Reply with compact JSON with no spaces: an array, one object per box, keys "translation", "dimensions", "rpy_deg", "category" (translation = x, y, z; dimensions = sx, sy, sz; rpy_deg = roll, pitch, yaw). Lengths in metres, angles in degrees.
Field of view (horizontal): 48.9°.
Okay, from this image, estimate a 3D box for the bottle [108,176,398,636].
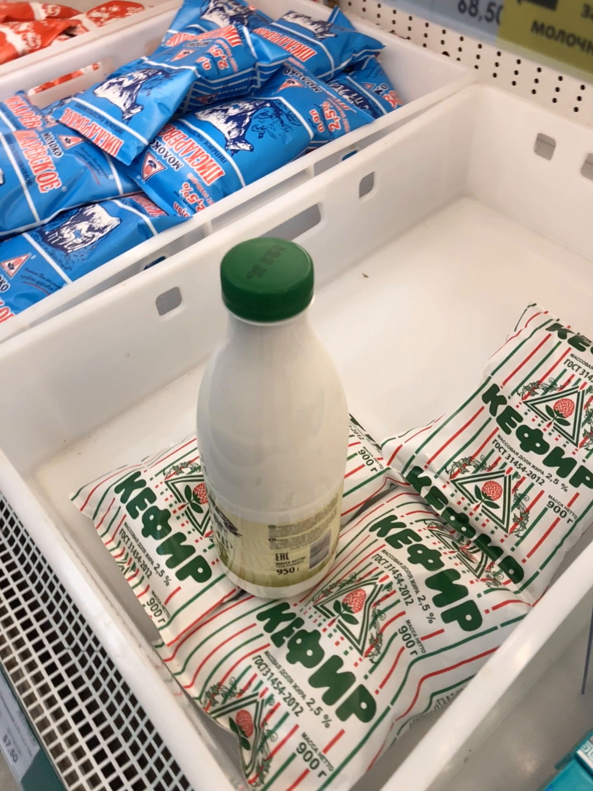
[{"translation":[-0.014,0.030,0.369],"dimensions":[0.090,0.269,0.090],"rpy_deg":[-2,51,3],"category":"bottle"}]
